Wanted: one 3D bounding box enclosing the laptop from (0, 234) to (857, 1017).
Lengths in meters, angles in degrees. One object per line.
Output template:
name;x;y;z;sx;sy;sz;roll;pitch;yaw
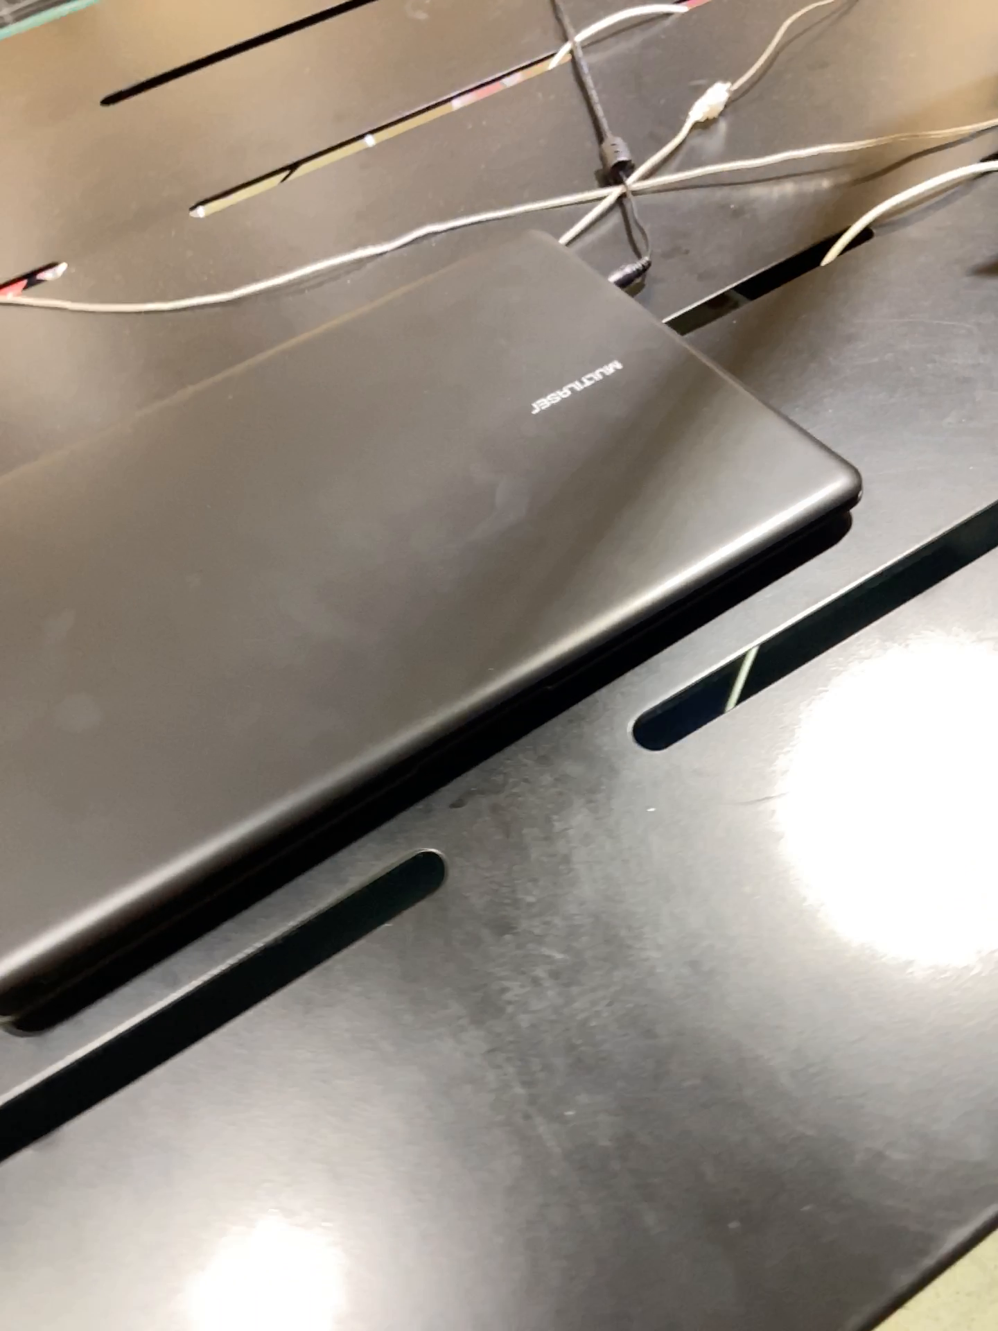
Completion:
laptop;-0.068;-0.052;0.374;0.324;0.001;0.211;-30;55;-14
